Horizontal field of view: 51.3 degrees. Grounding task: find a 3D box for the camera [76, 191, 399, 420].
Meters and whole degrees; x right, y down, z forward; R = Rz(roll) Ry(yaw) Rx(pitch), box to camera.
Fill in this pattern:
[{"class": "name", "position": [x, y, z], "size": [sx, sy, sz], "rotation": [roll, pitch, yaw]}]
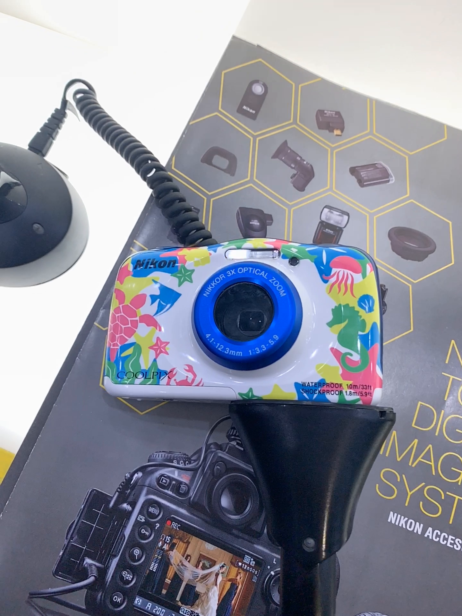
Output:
[{"class": "camera", "position": [0.004, -0.001, 0.189], "size": [0.110, 0.030, 0.080], "rotation": [0, 70, 10]}]
